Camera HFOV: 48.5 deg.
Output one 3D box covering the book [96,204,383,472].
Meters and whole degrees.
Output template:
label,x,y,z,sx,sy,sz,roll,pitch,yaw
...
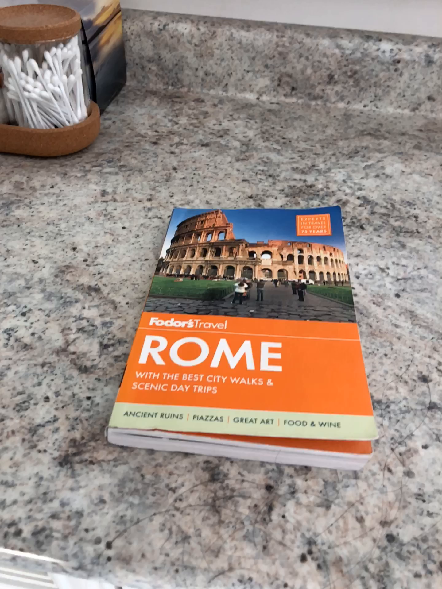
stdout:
label,x,y,z,sx,sy,sz,roll,pitch,yaw
book,0.017,0.008,0.321,0.139,0.023,0.208,2,42,5
